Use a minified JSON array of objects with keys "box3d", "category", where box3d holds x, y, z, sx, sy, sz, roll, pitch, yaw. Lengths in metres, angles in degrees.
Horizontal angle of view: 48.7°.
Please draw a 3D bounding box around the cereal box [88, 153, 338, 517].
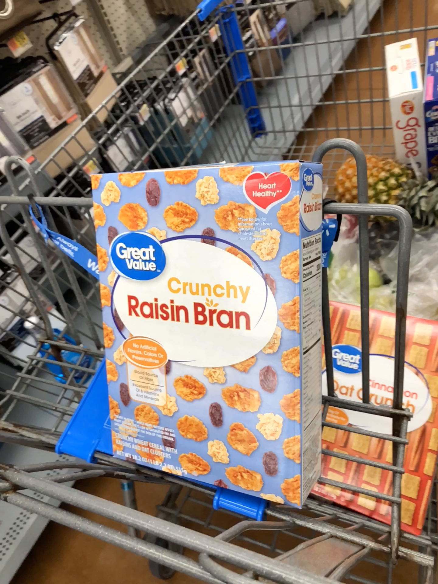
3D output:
[{"box3d":[-0.006,0.029,0.434,0.200,0.280,0.070,4,12,25],"category":"cereal box"}]
